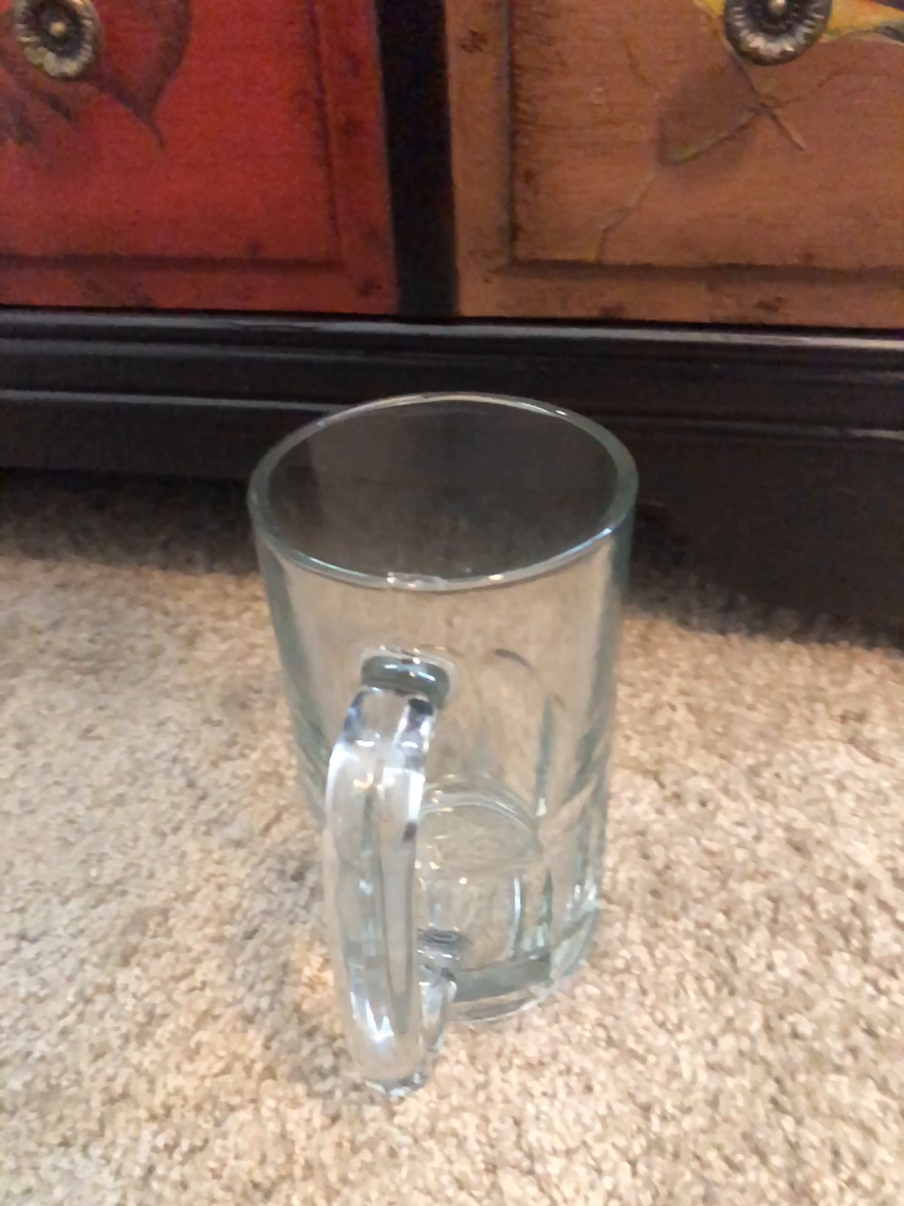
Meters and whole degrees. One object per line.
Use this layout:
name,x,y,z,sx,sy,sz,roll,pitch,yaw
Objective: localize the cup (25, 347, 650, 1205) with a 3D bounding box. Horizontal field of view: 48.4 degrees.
cup,-0.009,0.038,0.251,0.096,0.155,0.134,6,35,8
